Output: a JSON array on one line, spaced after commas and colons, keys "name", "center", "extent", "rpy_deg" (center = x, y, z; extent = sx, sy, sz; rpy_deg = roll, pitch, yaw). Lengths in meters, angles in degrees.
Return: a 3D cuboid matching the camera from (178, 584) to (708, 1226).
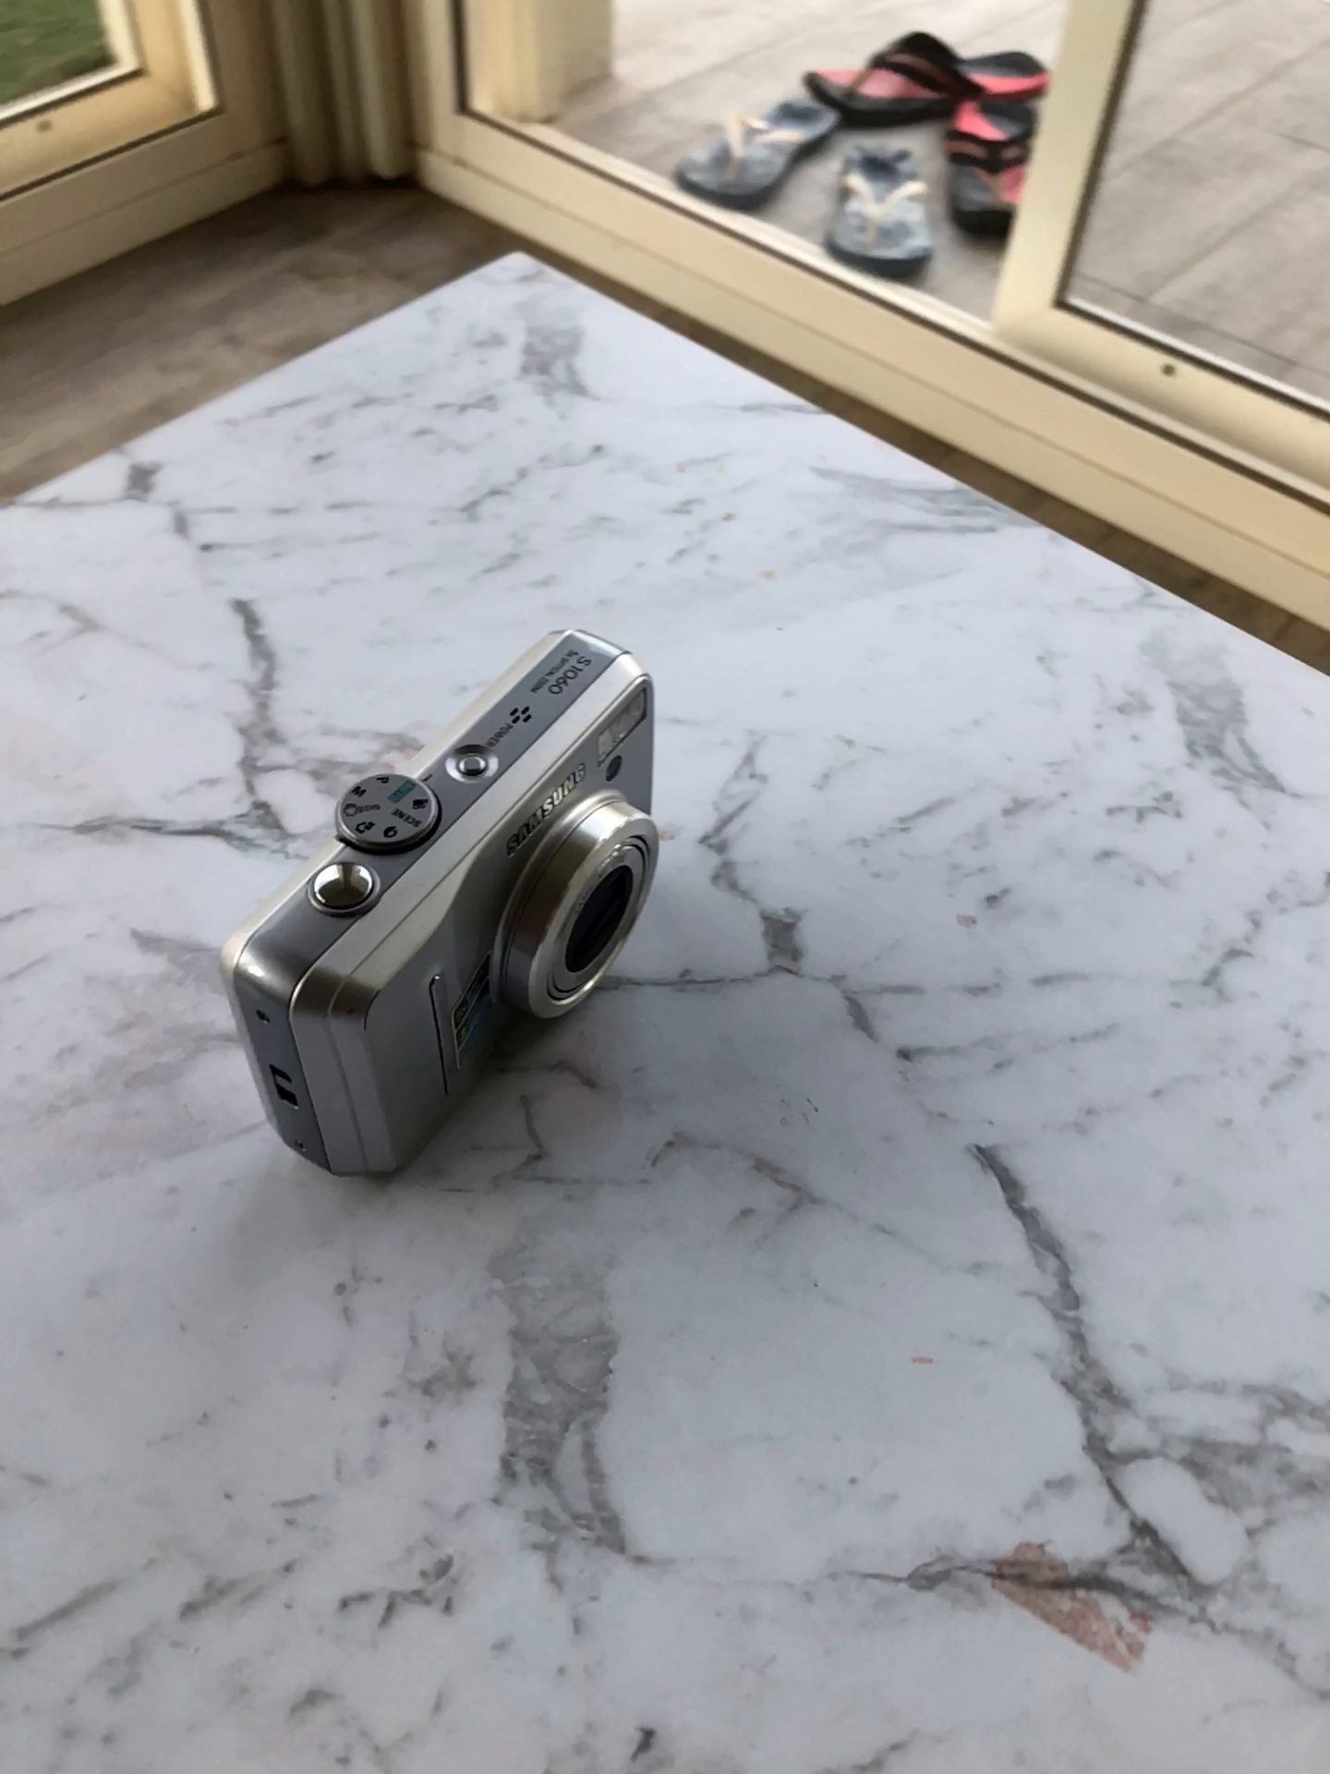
[{"name": "camera", "center": [-0.034, 0.001, 0.270], "extent": [0.034, 0.061, 0.099], "rpy_deg": [27, 55, 18]}]
